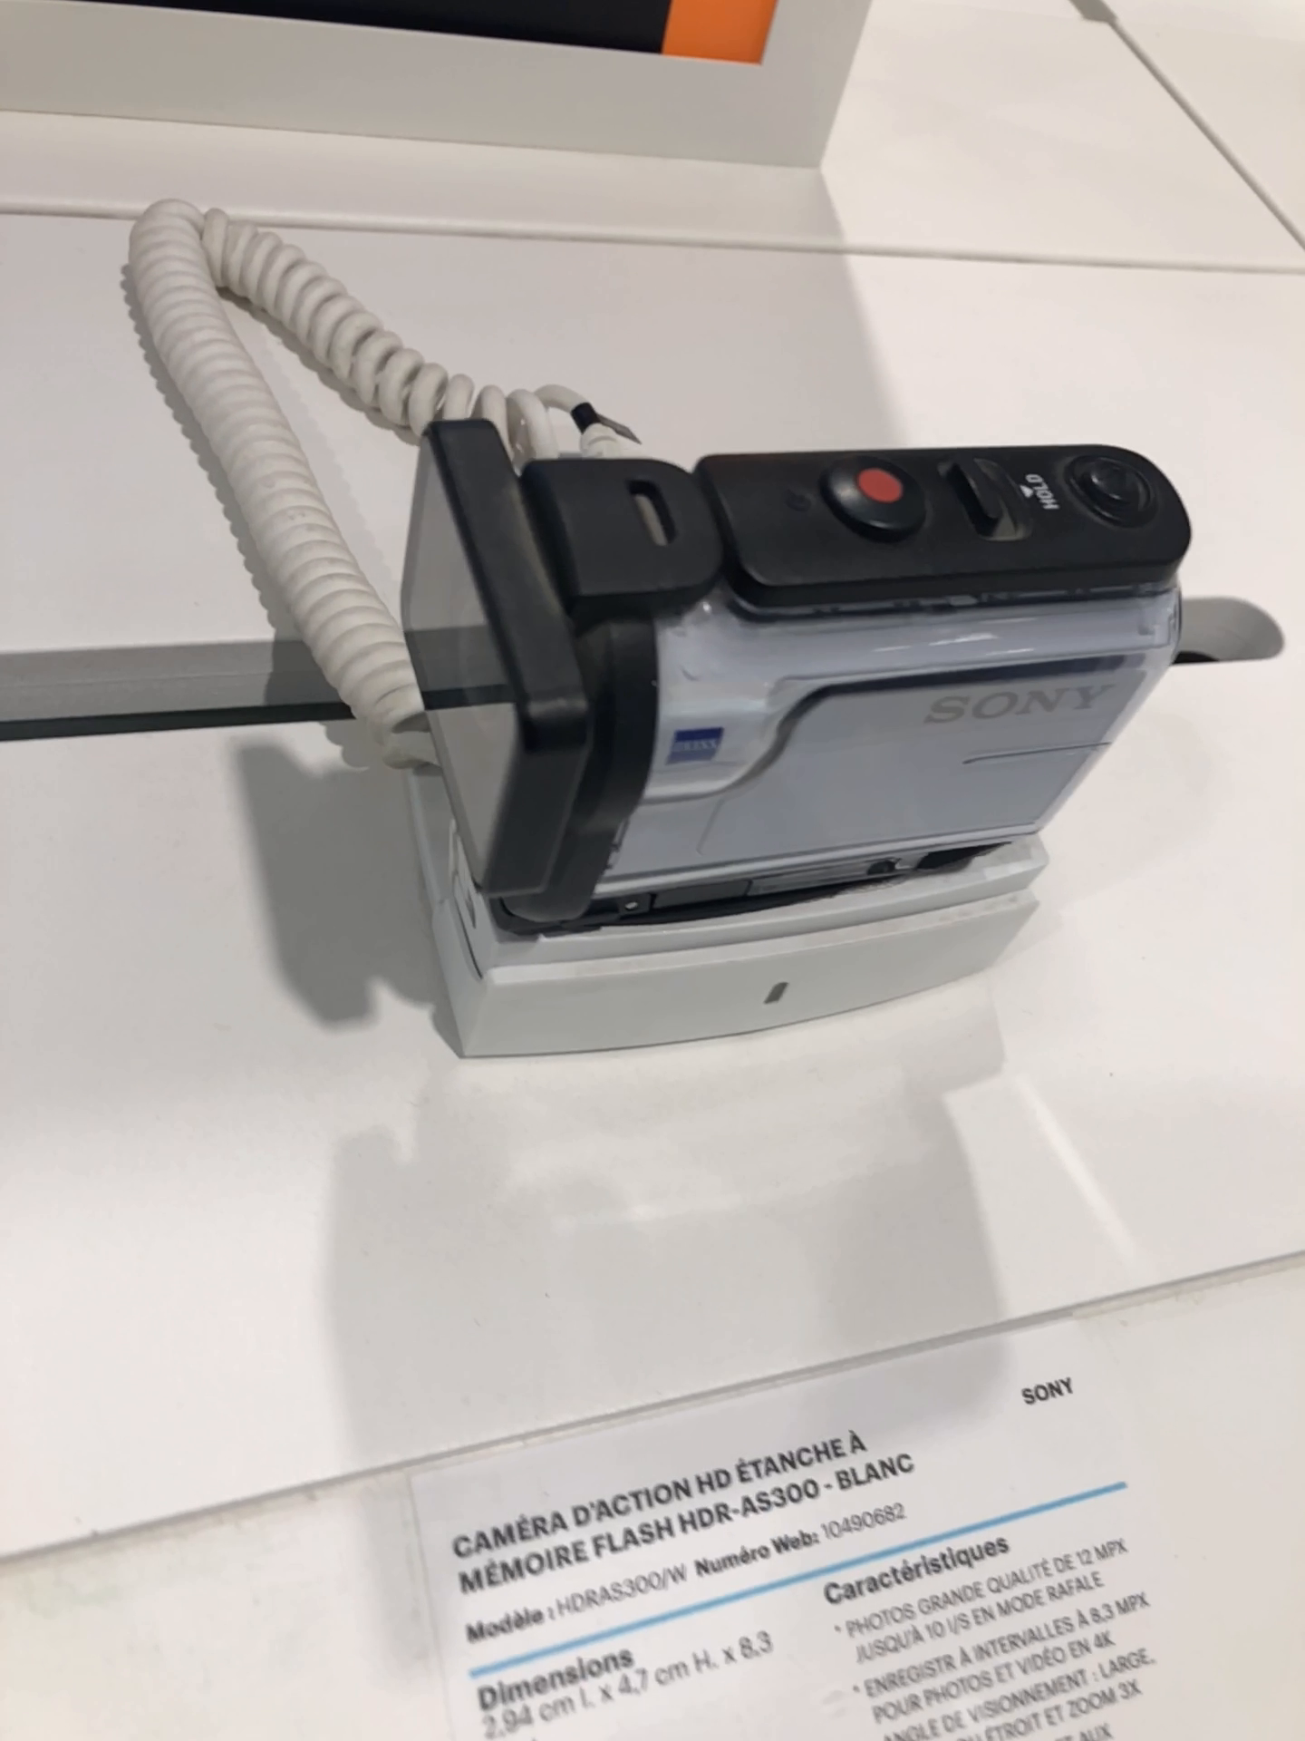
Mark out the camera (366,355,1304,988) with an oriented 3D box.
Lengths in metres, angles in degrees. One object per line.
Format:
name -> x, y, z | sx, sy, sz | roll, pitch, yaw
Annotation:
camera -> 0.019, -0.025, 0.169 | 0.093, 0.044, 0.049 | -6, 55, -20
